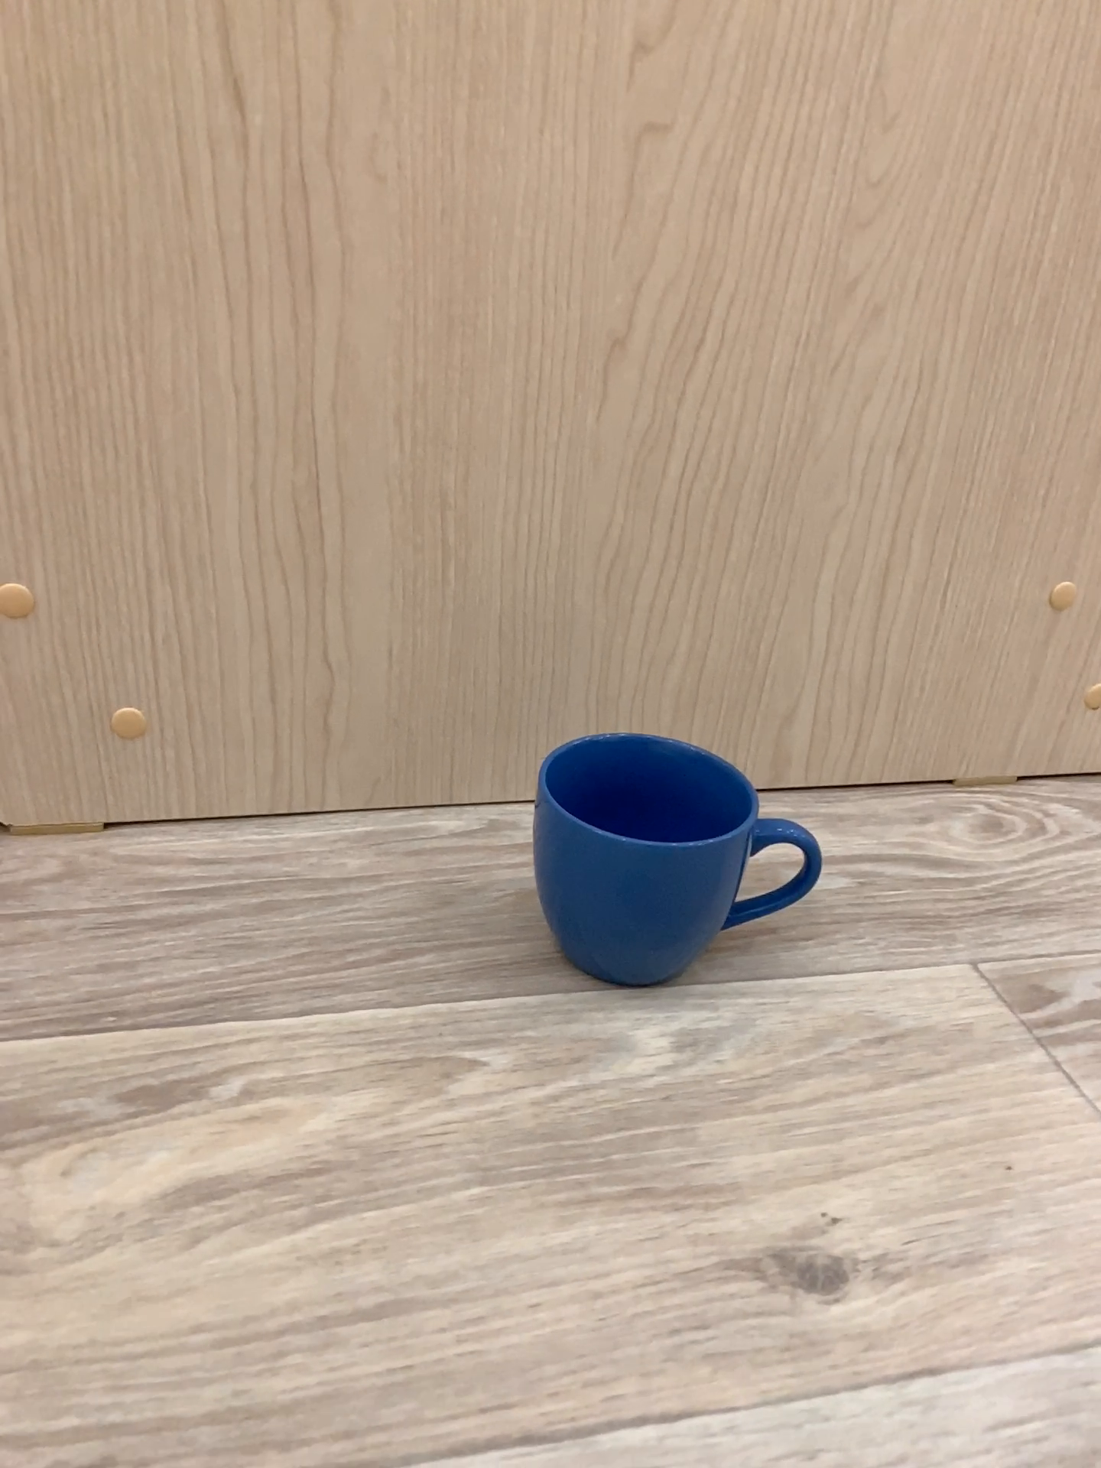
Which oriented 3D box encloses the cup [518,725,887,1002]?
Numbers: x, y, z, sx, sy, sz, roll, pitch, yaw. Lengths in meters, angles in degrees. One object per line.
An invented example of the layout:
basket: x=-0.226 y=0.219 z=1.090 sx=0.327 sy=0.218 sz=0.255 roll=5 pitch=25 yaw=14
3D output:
cup: x=0.053 y=0.048 z=0.441 sx=0.117 sy=0.074 sz=0.078 roll=1 pitch=27 yaw=-9
